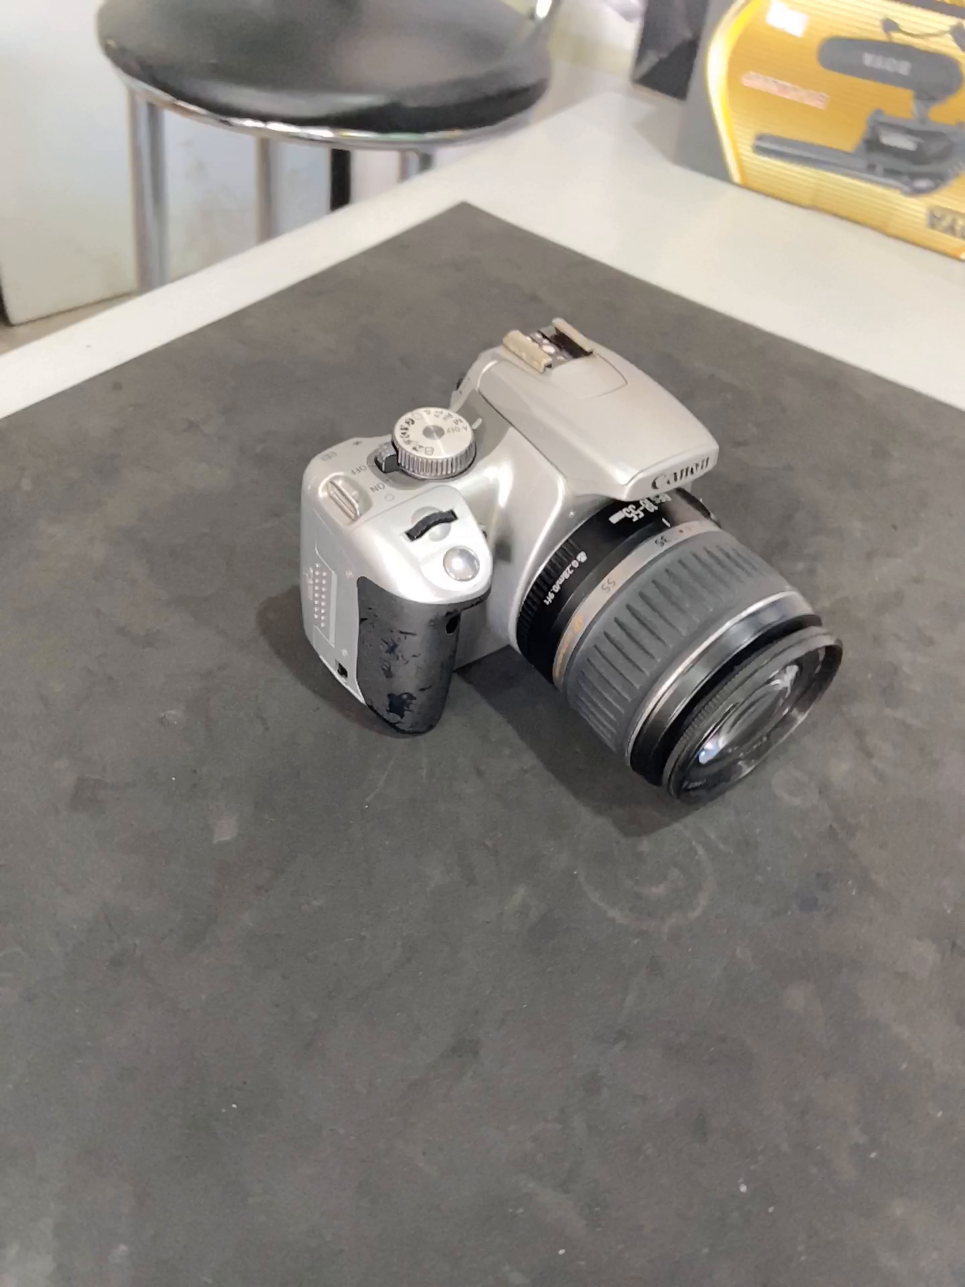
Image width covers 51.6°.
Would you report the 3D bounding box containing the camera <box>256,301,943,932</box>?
[{"bbox_3d":[0.026,-0.020,0.292,0.120,0.080,0.140,-29,55,-32],"label":"camera"}]
